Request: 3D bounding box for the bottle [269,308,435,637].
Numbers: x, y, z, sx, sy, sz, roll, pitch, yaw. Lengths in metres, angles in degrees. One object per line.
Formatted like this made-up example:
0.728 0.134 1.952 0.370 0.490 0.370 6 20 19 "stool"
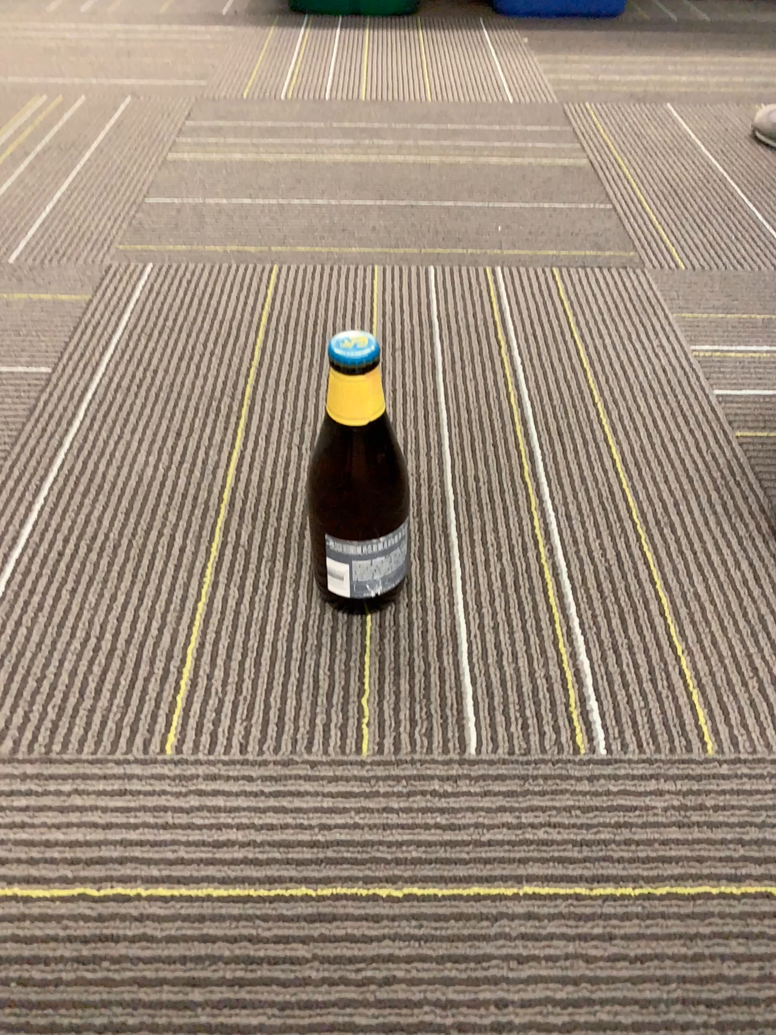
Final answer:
-0.020 -0.020 0.462 0.060 0.179 0.060 1 43 -1 "bottle"
